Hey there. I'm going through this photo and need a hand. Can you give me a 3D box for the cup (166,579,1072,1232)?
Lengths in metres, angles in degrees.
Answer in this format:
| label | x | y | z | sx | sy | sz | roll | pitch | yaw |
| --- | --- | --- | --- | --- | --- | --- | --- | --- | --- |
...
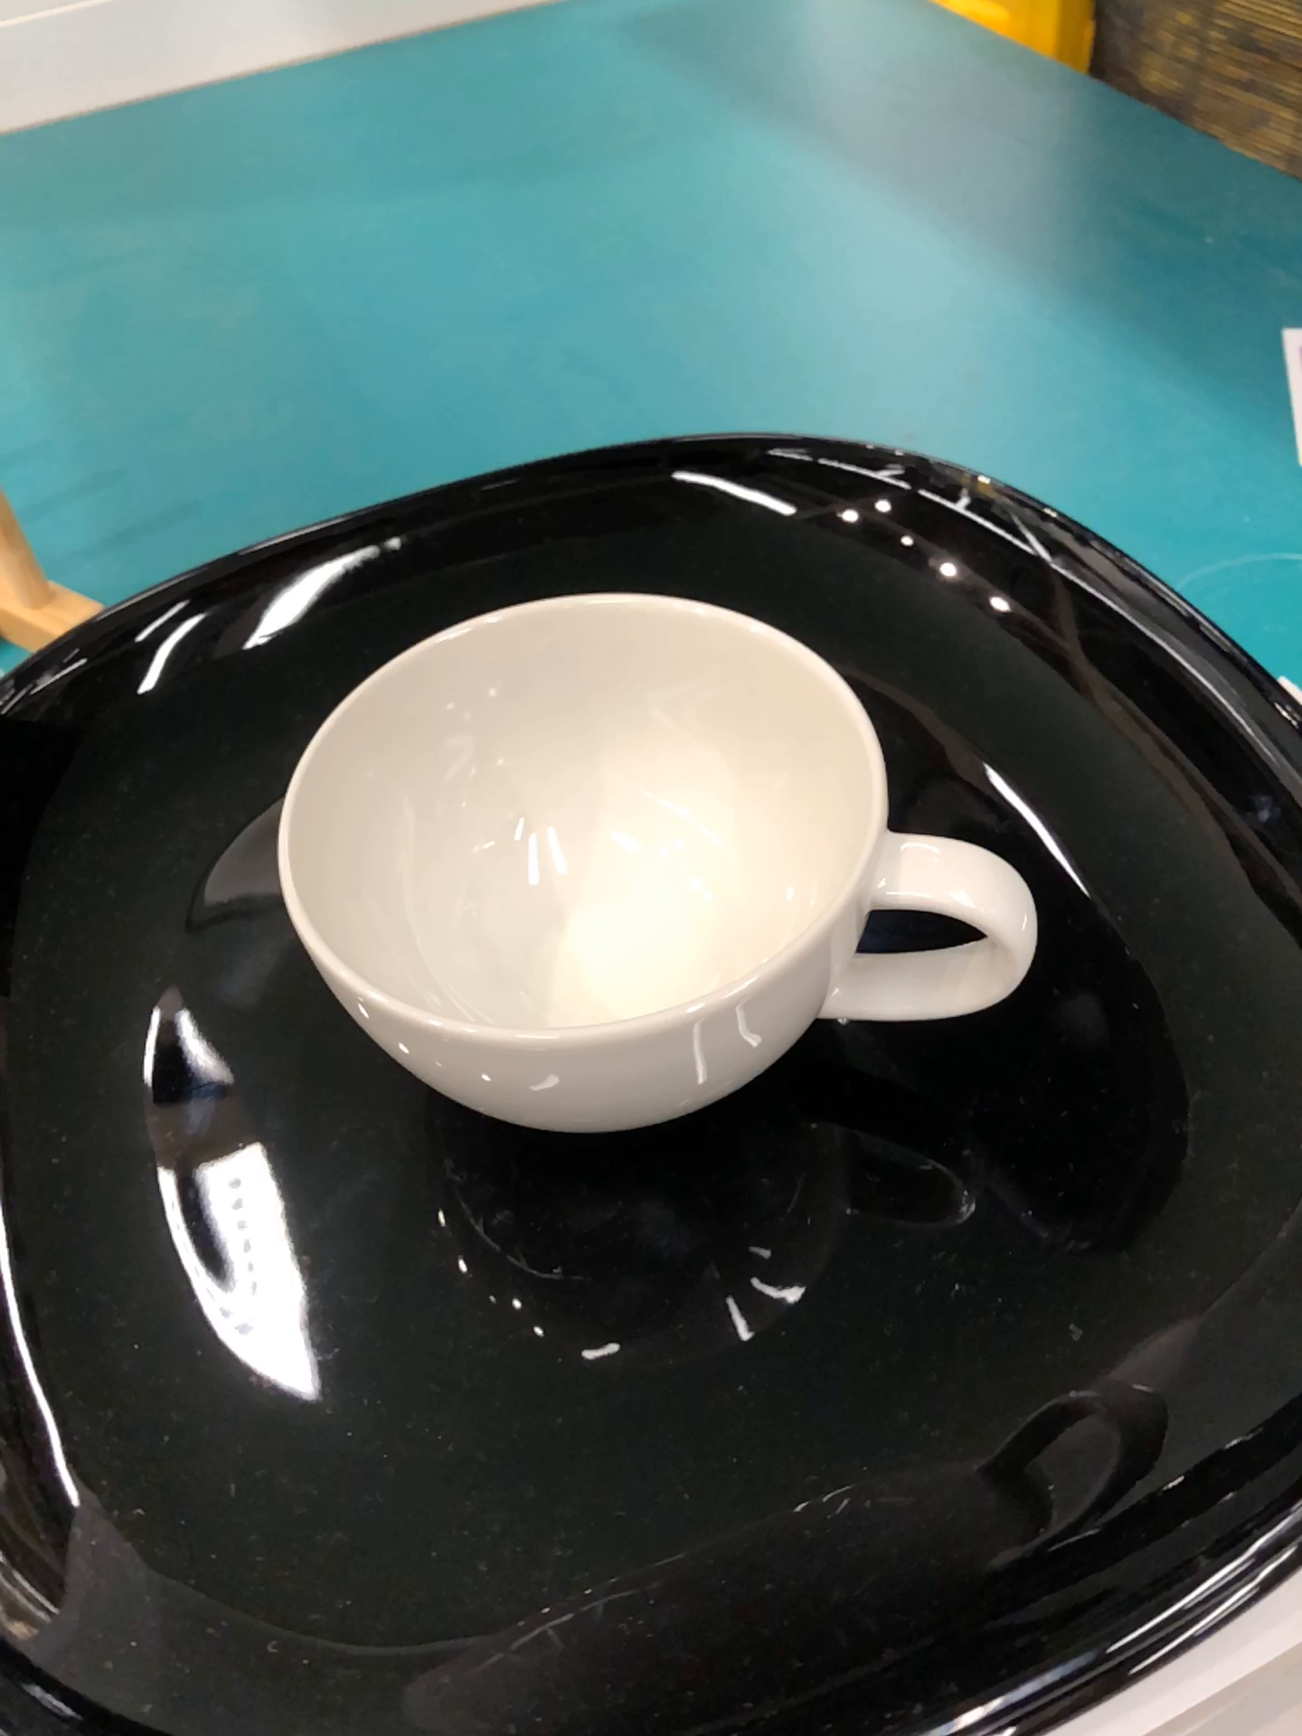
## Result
| label | x | y | z | sx | sy | sz | roll | pitch | yaw |
| --- | --- | --- | --- | --- | --- | --- | --- | --- | --- |
| cup | 0.002 | -0.001 | 0.256 | 0.130 | 0.040 | 0.110 | 3 | 47 | 11 |
